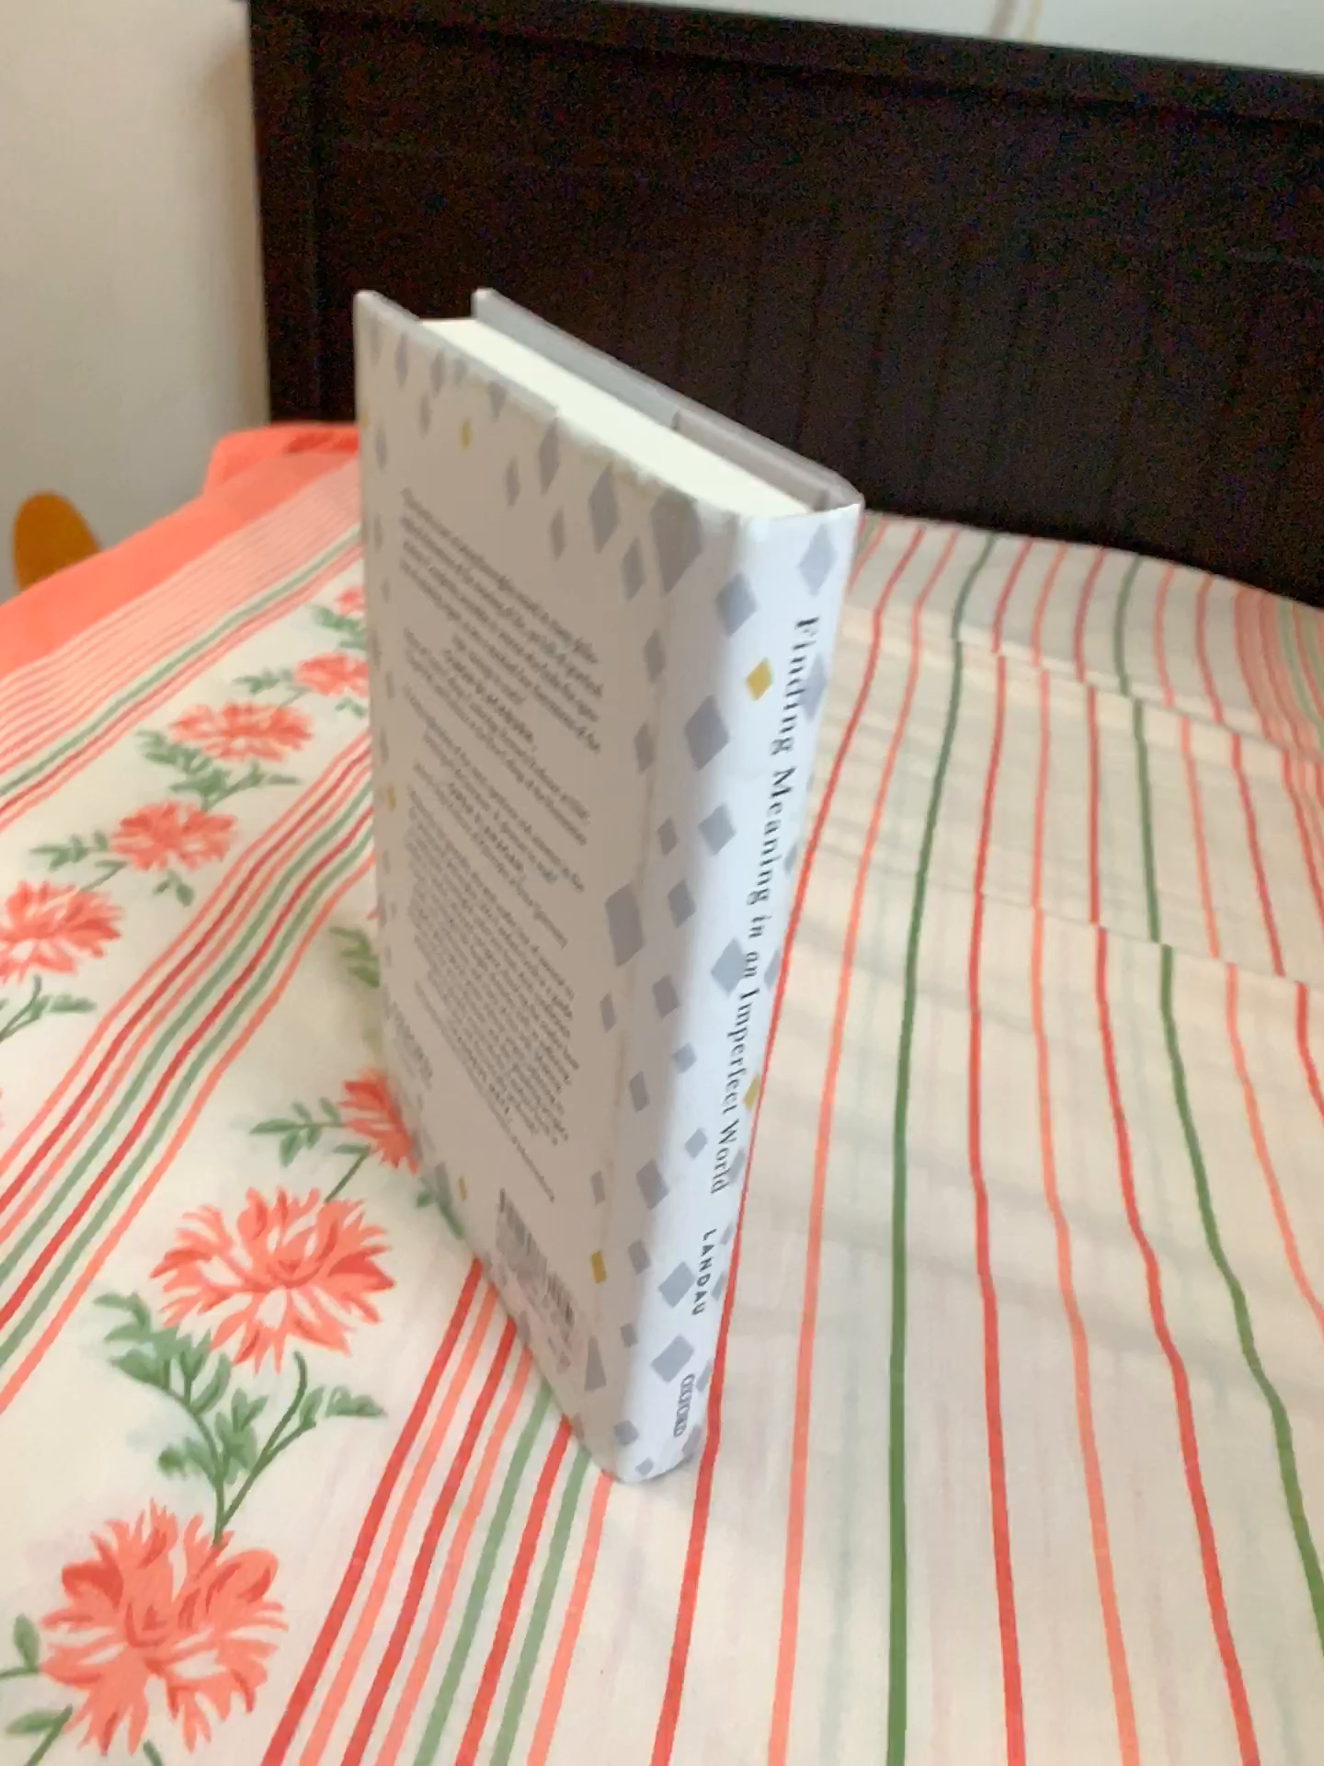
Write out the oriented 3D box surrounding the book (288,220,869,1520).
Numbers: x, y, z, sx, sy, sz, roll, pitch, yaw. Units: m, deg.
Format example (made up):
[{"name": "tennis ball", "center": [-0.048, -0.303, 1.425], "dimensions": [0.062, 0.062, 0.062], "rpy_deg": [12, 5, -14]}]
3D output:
[{"name": "book", "center": [-0.034, -0.006, 0.288], "dimensions": [0.030, 0.218, 0.161], "rpy_deg": [-13, 36, -27]}]
